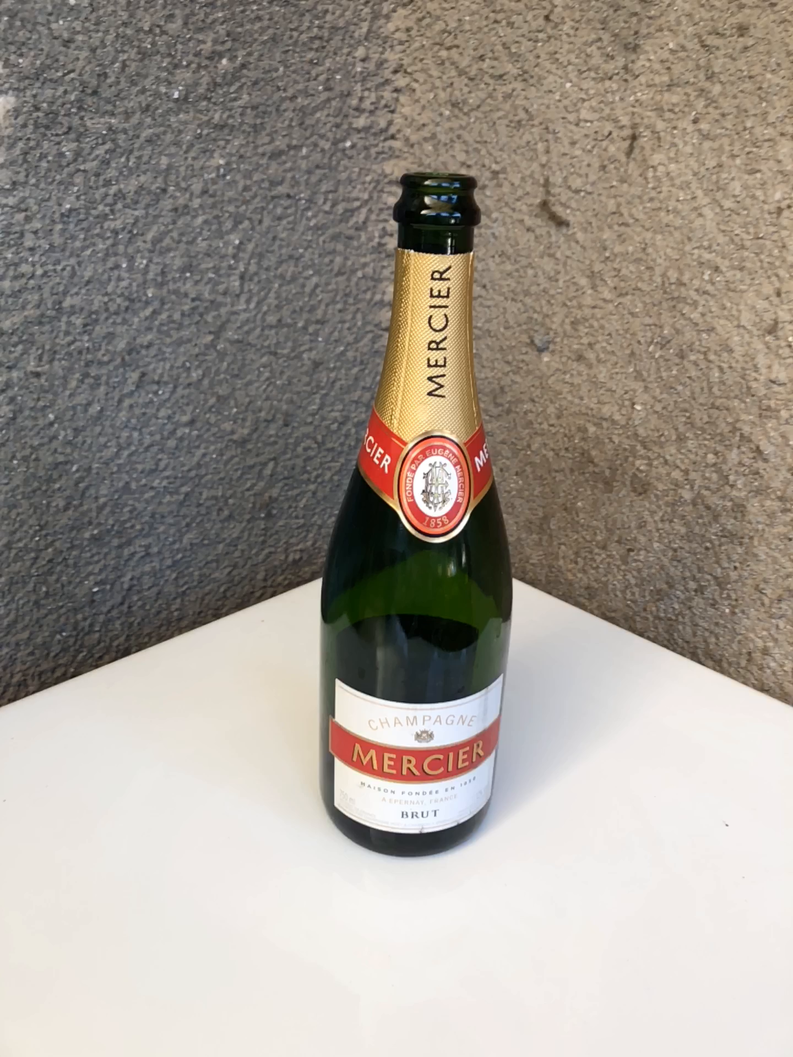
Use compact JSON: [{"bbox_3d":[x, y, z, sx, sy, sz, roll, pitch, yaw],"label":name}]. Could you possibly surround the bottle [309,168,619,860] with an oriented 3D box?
[{"bbox_3d":[0.014,0.003,0.383,0.100,0.288,0.090,1,26,-4],"label":"bottle"}]
